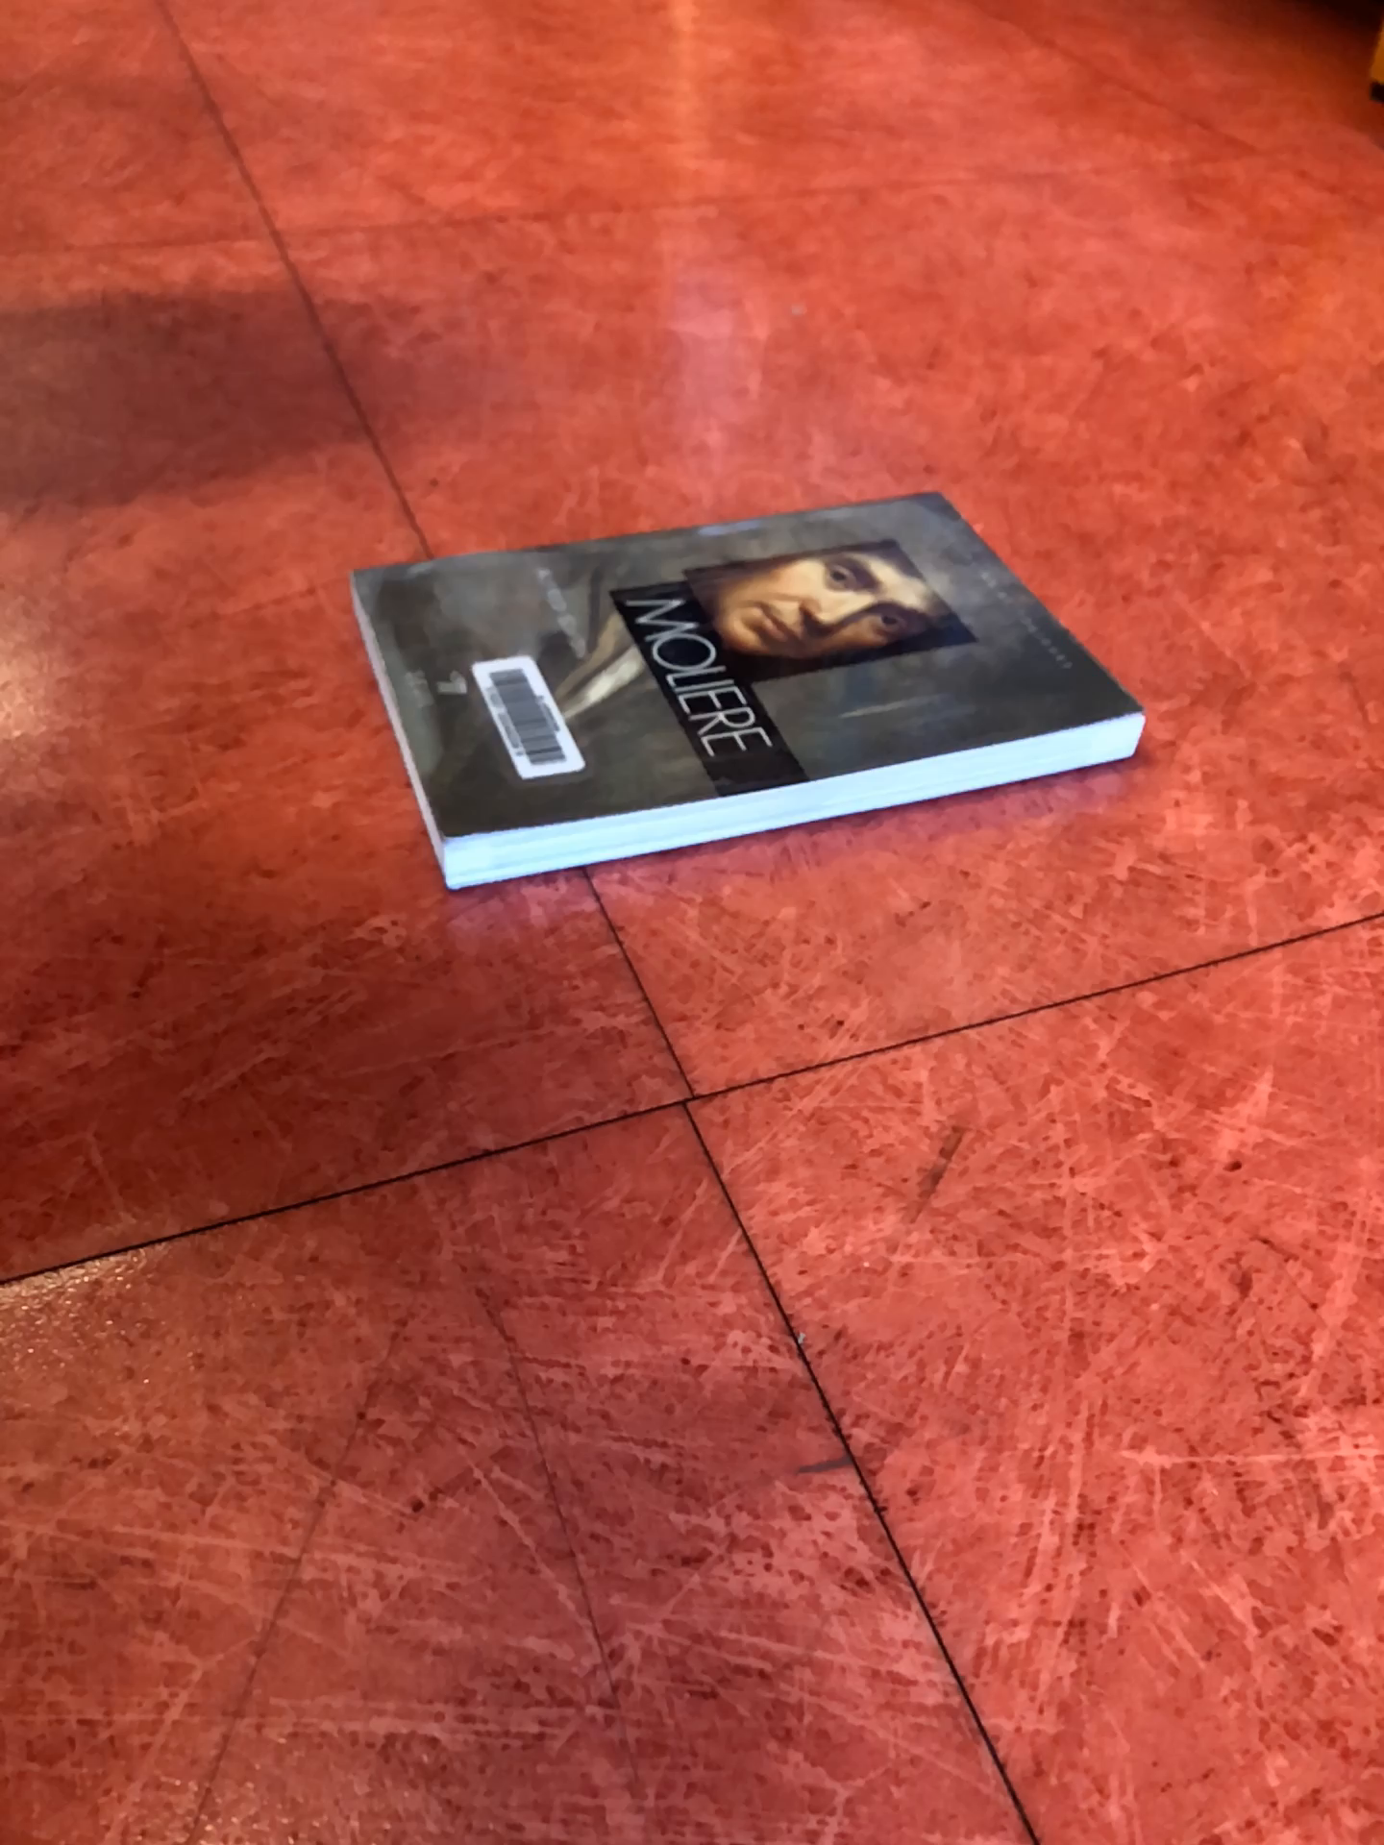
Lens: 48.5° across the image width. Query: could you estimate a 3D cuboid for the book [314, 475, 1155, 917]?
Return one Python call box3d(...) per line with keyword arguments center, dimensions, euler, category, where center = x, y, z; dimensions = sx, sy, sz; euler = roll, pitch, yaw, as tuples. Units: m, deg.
box3d(center=(0.005, -0.069, 0.402), dimensions=(0.183, 0.015, 0.135), euler=(-12, 45, -15), category="book")
